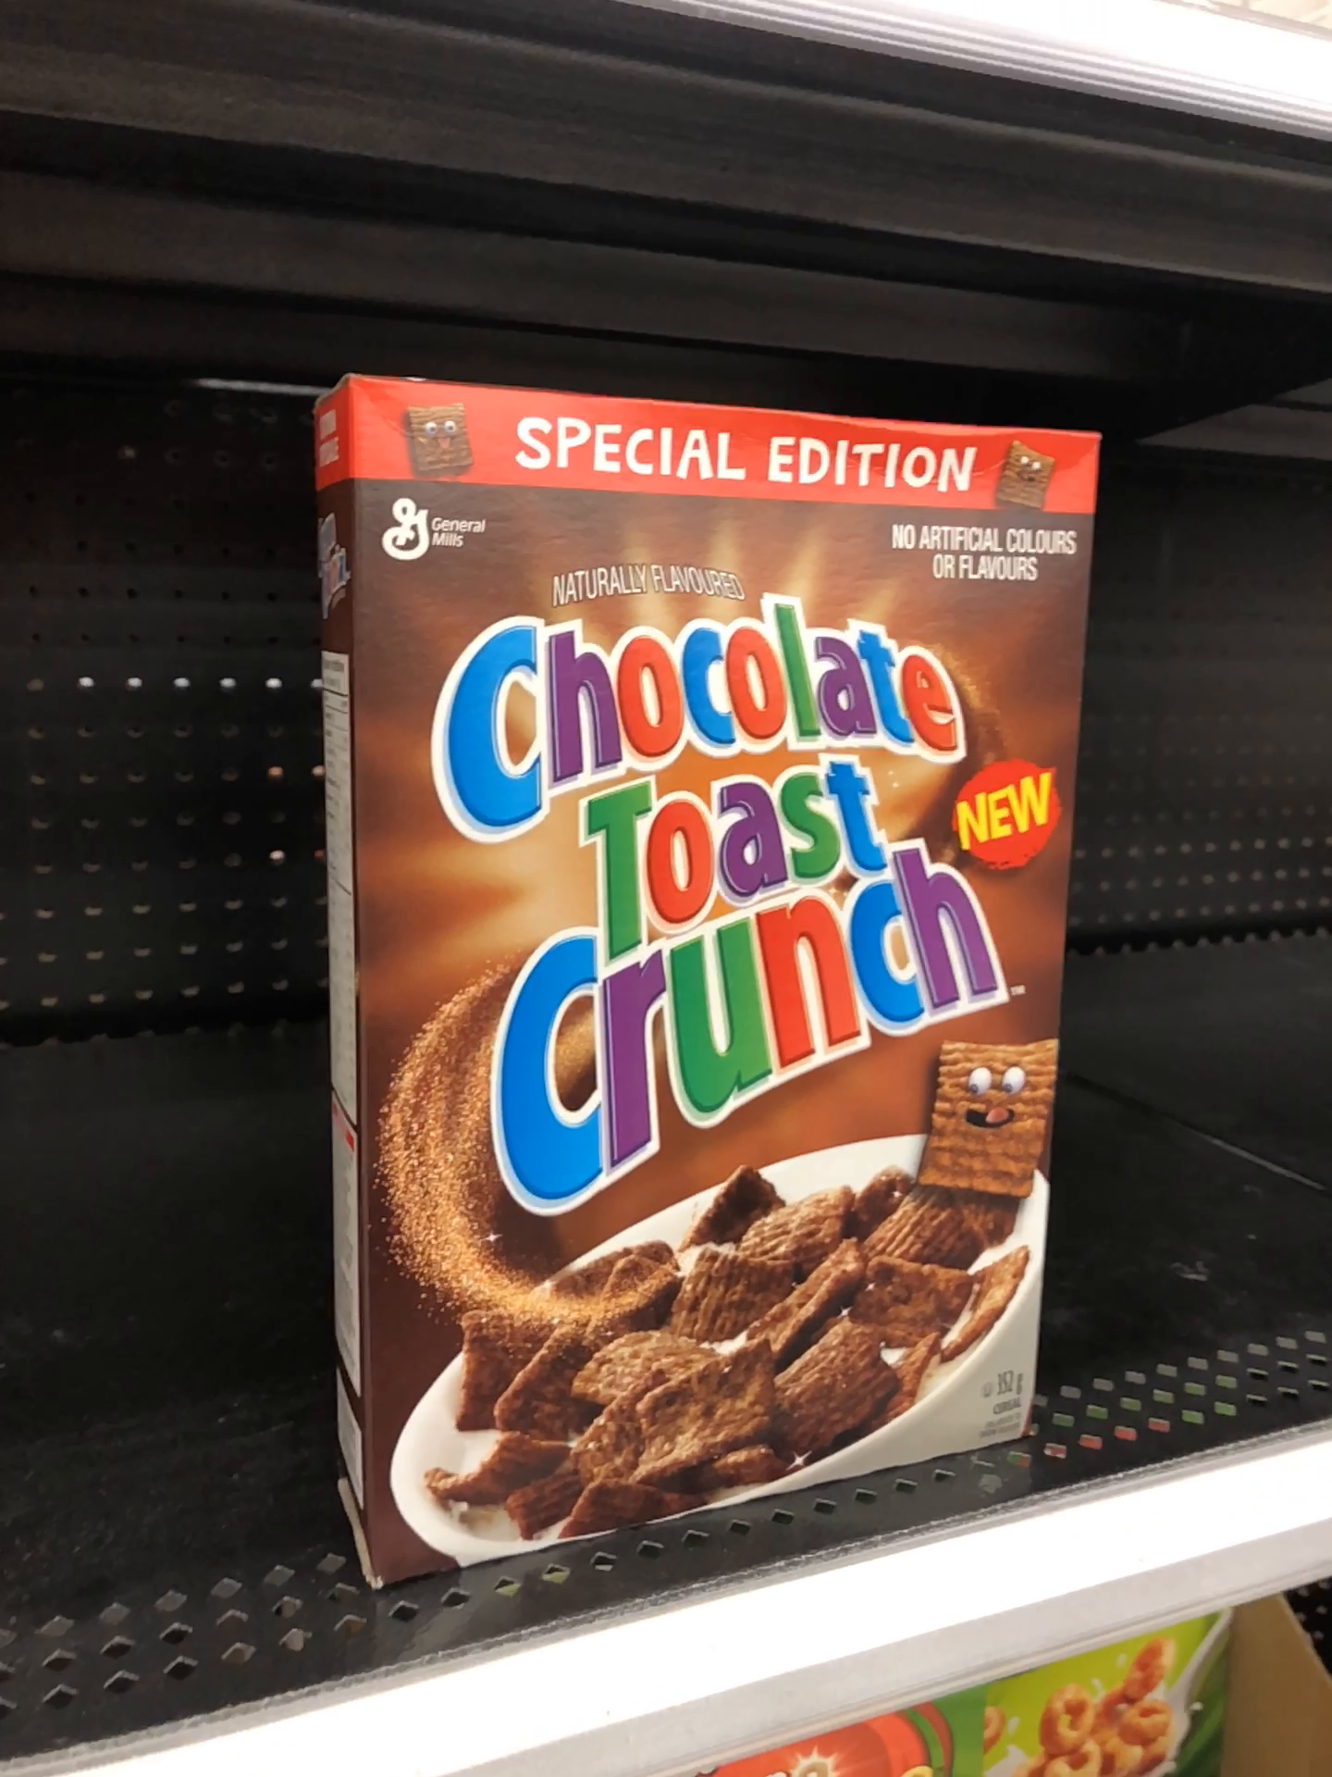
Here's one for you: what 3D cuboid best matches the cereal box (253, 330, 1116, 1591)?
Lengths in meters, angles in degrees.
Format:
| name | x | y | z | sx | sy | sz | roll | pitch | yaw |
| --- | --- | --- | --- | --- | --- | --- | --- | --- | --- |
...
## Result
| name | x | y | z | sx | sy | sz | roll | pitch | yaw |
| --- | --- | --- | --- | --- | --- | --- | --- | --- | --- |
| cereal box | 0.006 | 0.015 | 0.370 | 0.200 | 0.269 | 0.050 | -3 | 10 | -23 |
